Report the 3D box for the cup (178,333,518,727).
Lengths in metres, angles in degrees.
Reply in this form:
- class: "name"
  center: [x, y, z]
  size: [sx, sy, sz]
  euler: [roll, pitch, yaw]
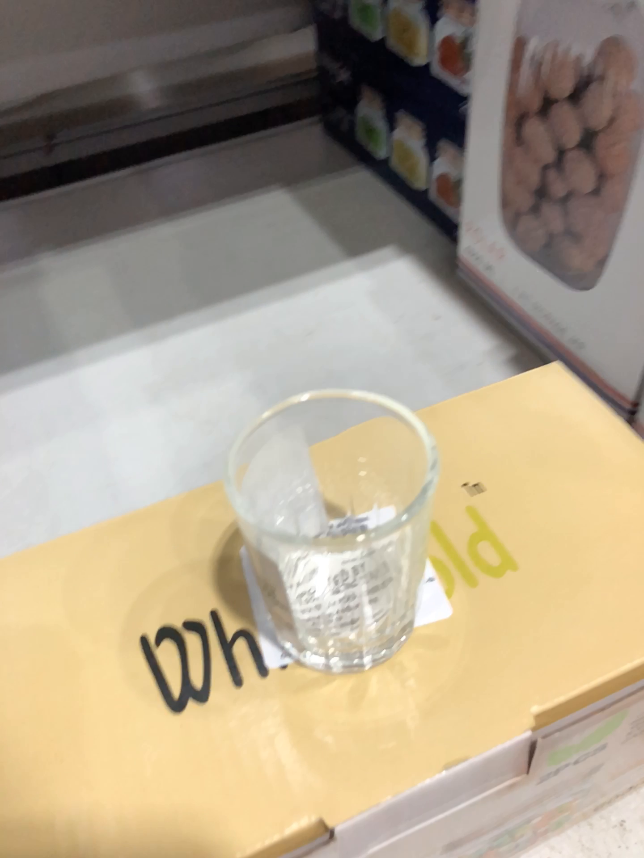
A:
- class: "cup"
  center: [0.006, 0.023, 0.170]
  size: [0.050, 0.060, 0.050]
  euler: [-2, 45, 2]
